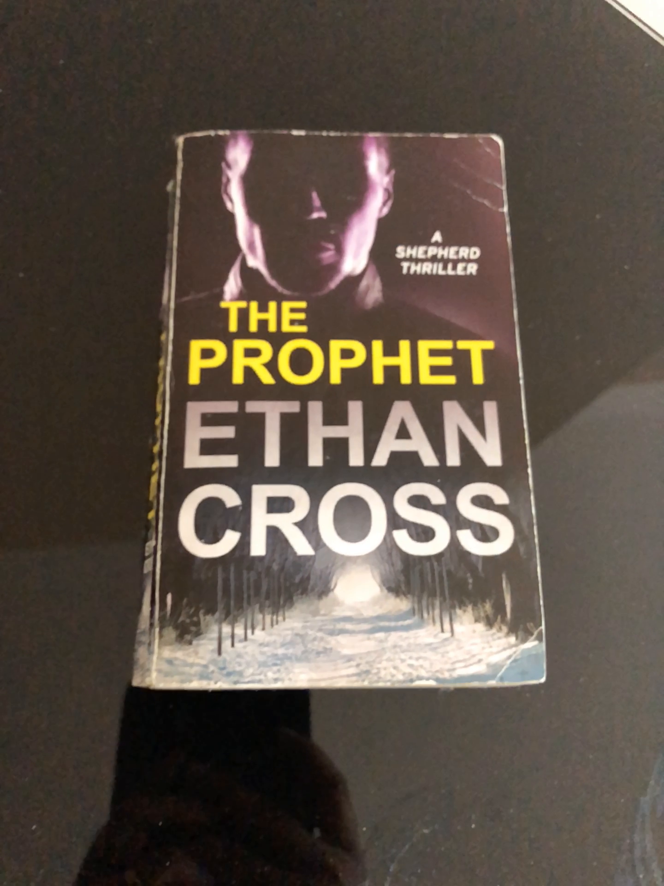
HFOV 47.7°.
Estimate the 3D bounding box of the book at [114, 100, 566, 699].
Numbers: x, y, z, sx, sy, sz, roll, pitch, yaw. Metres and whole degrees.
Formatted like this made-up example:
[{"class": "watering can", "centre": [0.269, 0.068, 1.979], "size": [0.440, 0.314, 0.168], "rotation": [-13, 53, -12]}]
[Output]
[{"class": "book", "centre": [0.001, -0.016, 0.235], "size": [0.115, 0.040, 0.179], "rotation": [0, 74, -3]}]
